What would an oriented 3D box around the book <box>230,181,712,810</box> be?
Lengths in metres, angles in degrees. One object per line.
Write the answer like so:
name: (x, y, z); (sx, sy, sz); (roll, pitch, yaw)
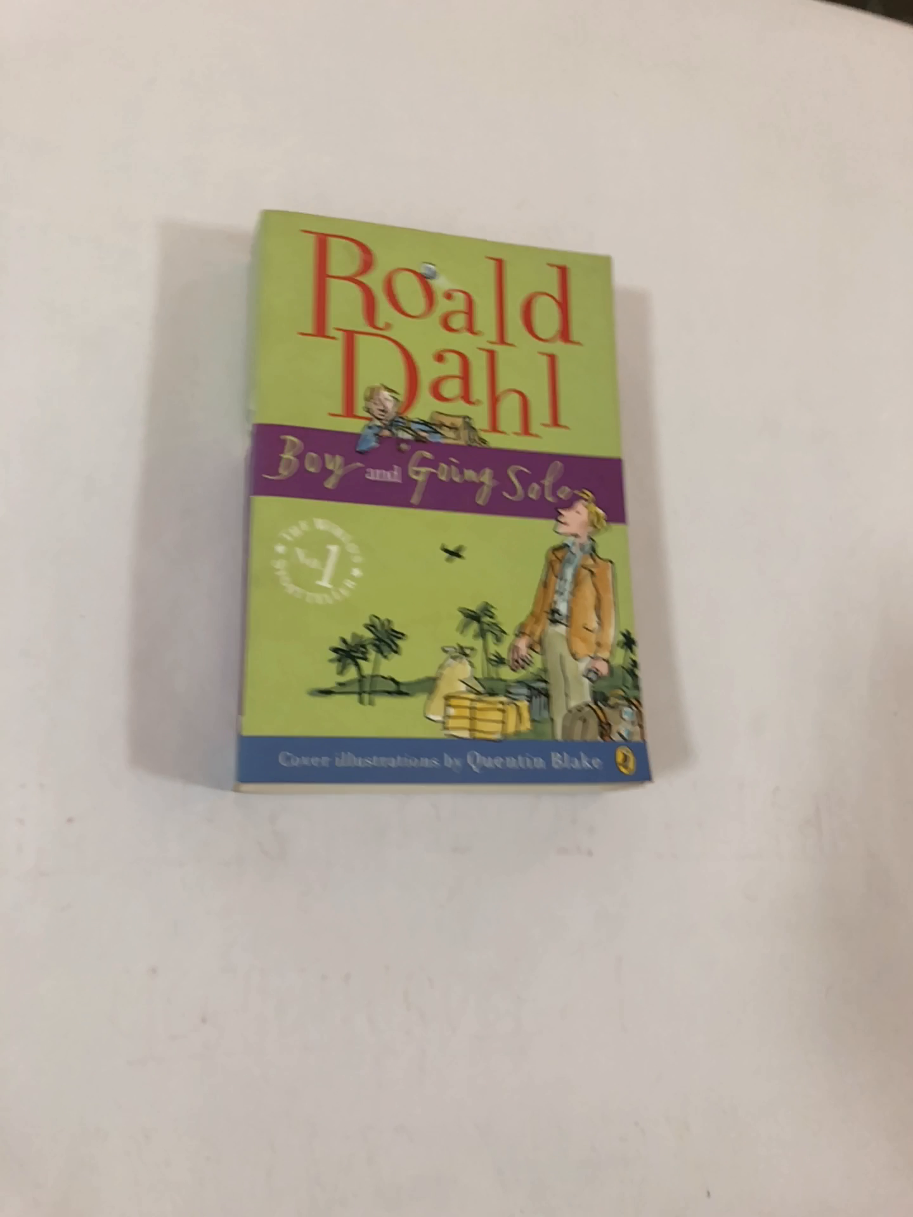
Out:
book: (0.002, -0.034, 0.332); (0.140, 0.036, 0.193); (3, 73, -16)
